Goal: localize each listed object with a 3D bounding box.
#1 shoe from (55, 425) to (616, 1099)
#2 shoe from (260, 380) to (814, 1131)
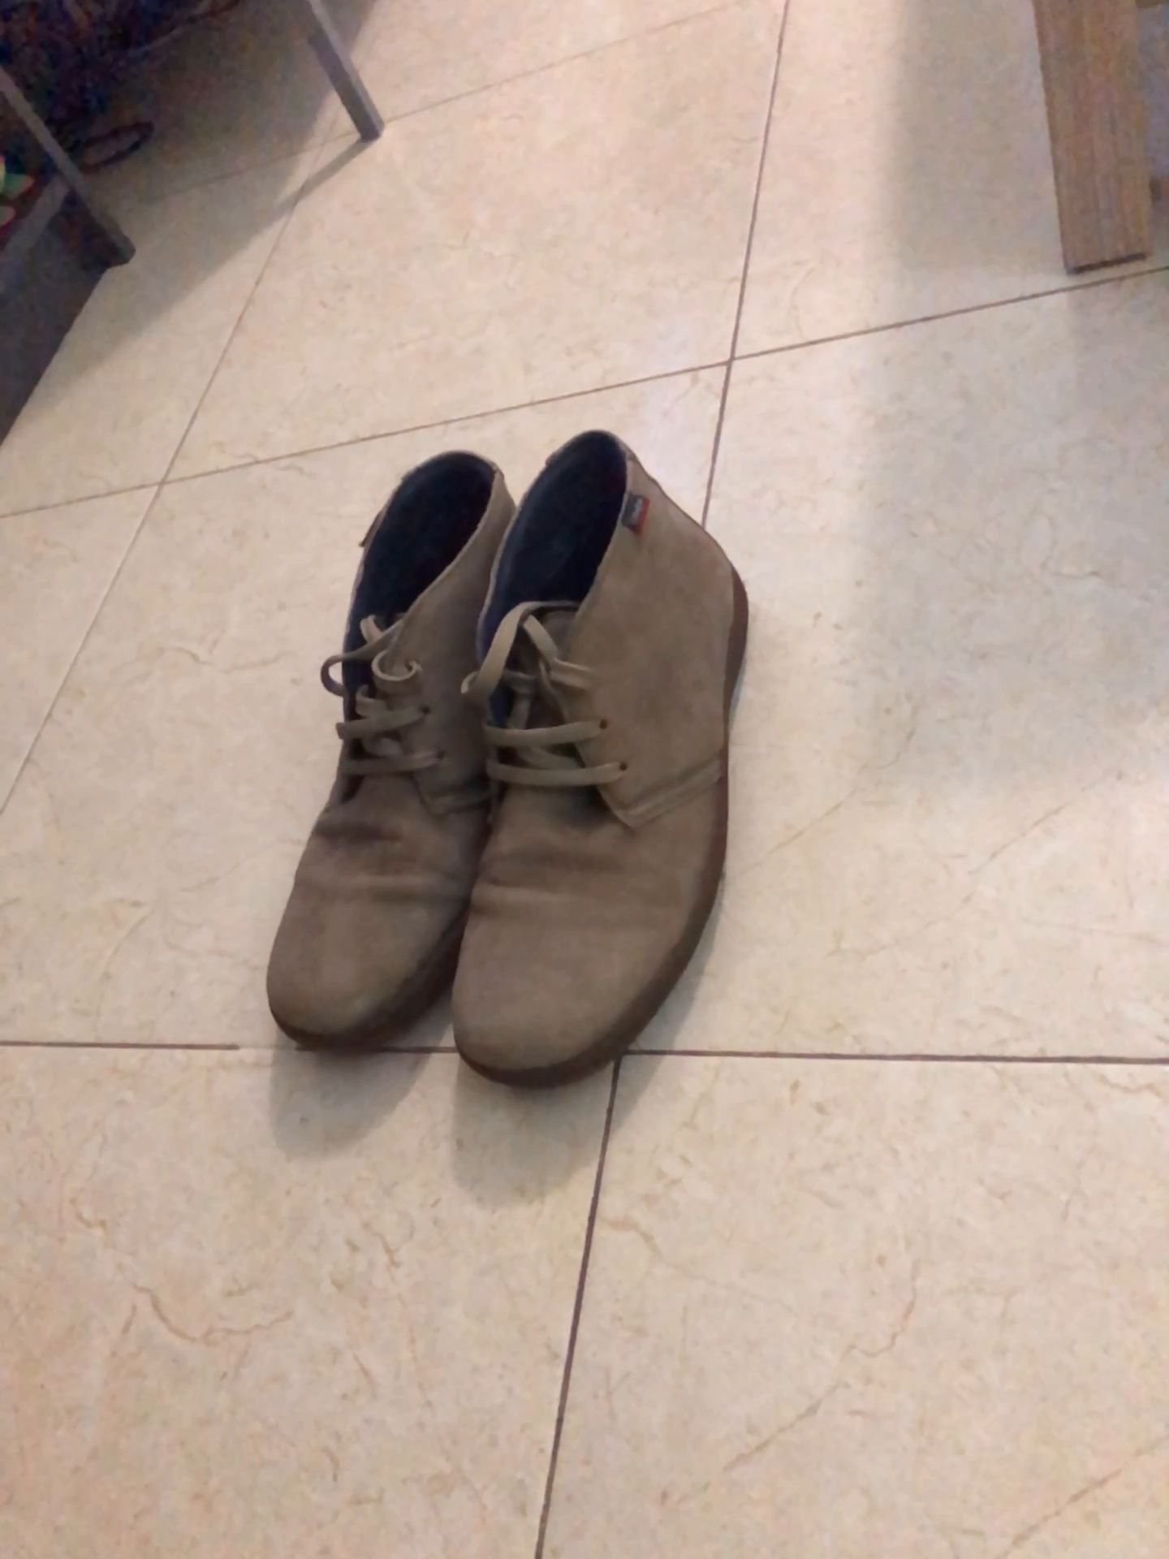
[{"bbox_3d":[-0.097,-0.017,0.599,0.110,0.120,0.280,4,58,29],"label":"shoe"},{"bbox_3d":[-0.002,-0.017,0.542,0.120,0.120,0.280,1,56,28],"label":"shoe"}]
